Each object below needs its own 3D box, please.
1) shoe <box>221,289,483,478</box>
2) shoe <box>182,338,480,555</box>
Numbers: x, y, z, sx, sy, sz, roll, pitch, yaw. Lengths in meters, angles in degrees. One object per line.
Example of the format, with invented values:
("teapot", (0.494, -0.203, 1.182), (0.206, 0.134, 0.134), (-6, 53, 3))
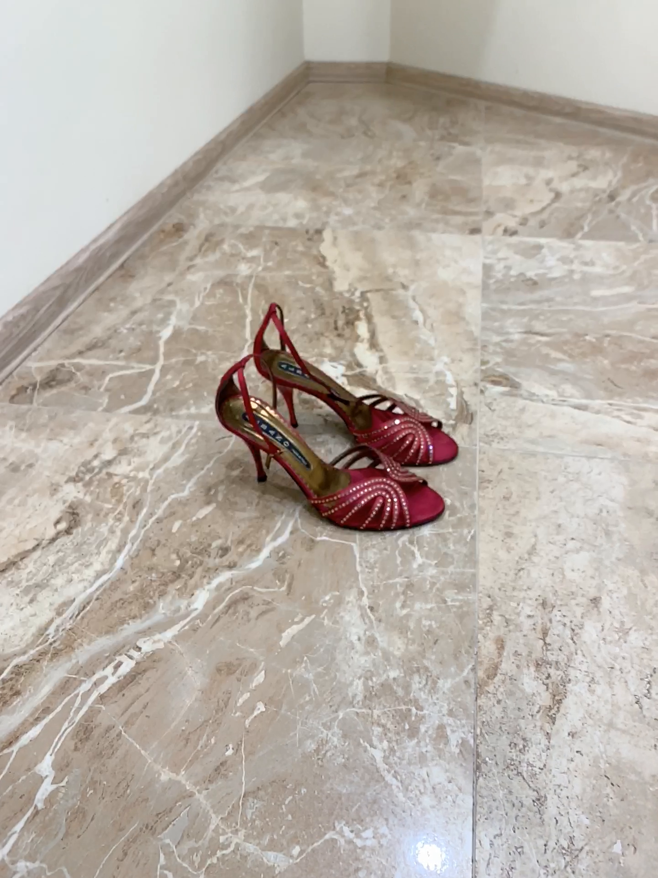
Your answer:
("shoe", (0.024, -0.058, 0.672), (0.230, 0.129, 0.090), (9, 39, 12))
("shoe", (0.004, 0.004, 0.597), (0.230, 0.129, 0.090), (9, 39, 12))
